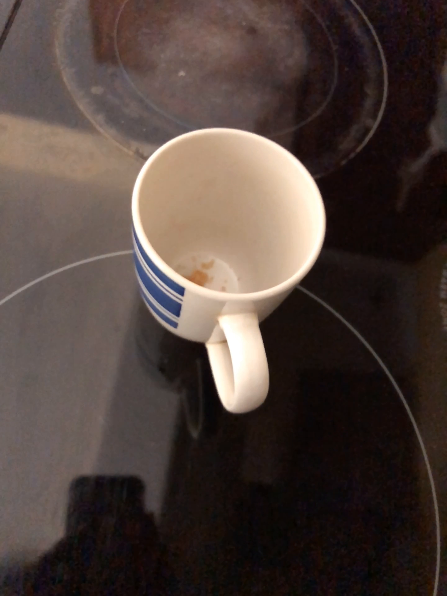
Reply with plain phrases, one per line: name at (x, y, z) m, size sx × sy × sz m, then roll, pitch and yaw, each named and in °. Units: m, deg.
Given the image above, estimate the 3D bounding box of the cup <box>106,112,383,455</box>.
cup at (-0.003, -0.002, 0.227) m, size 0.080 × 0.090 × 0.120 m, roll -7°, pitch 71°, yaw -13°
